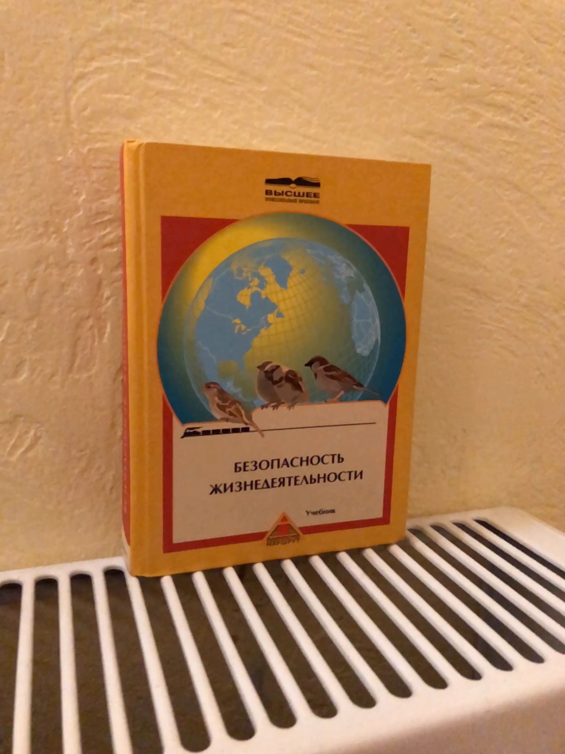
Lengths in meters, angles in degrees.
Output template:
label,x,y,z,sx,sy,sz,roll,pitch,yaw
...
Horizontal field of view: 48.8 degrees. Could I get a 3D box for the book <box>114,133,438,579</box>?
label,x,y,z,sx,sy,sz,roll,pitch,yaw
book,-0.005,-0.010,0.321,0.150,0.203,0.041,-3,13,-17
